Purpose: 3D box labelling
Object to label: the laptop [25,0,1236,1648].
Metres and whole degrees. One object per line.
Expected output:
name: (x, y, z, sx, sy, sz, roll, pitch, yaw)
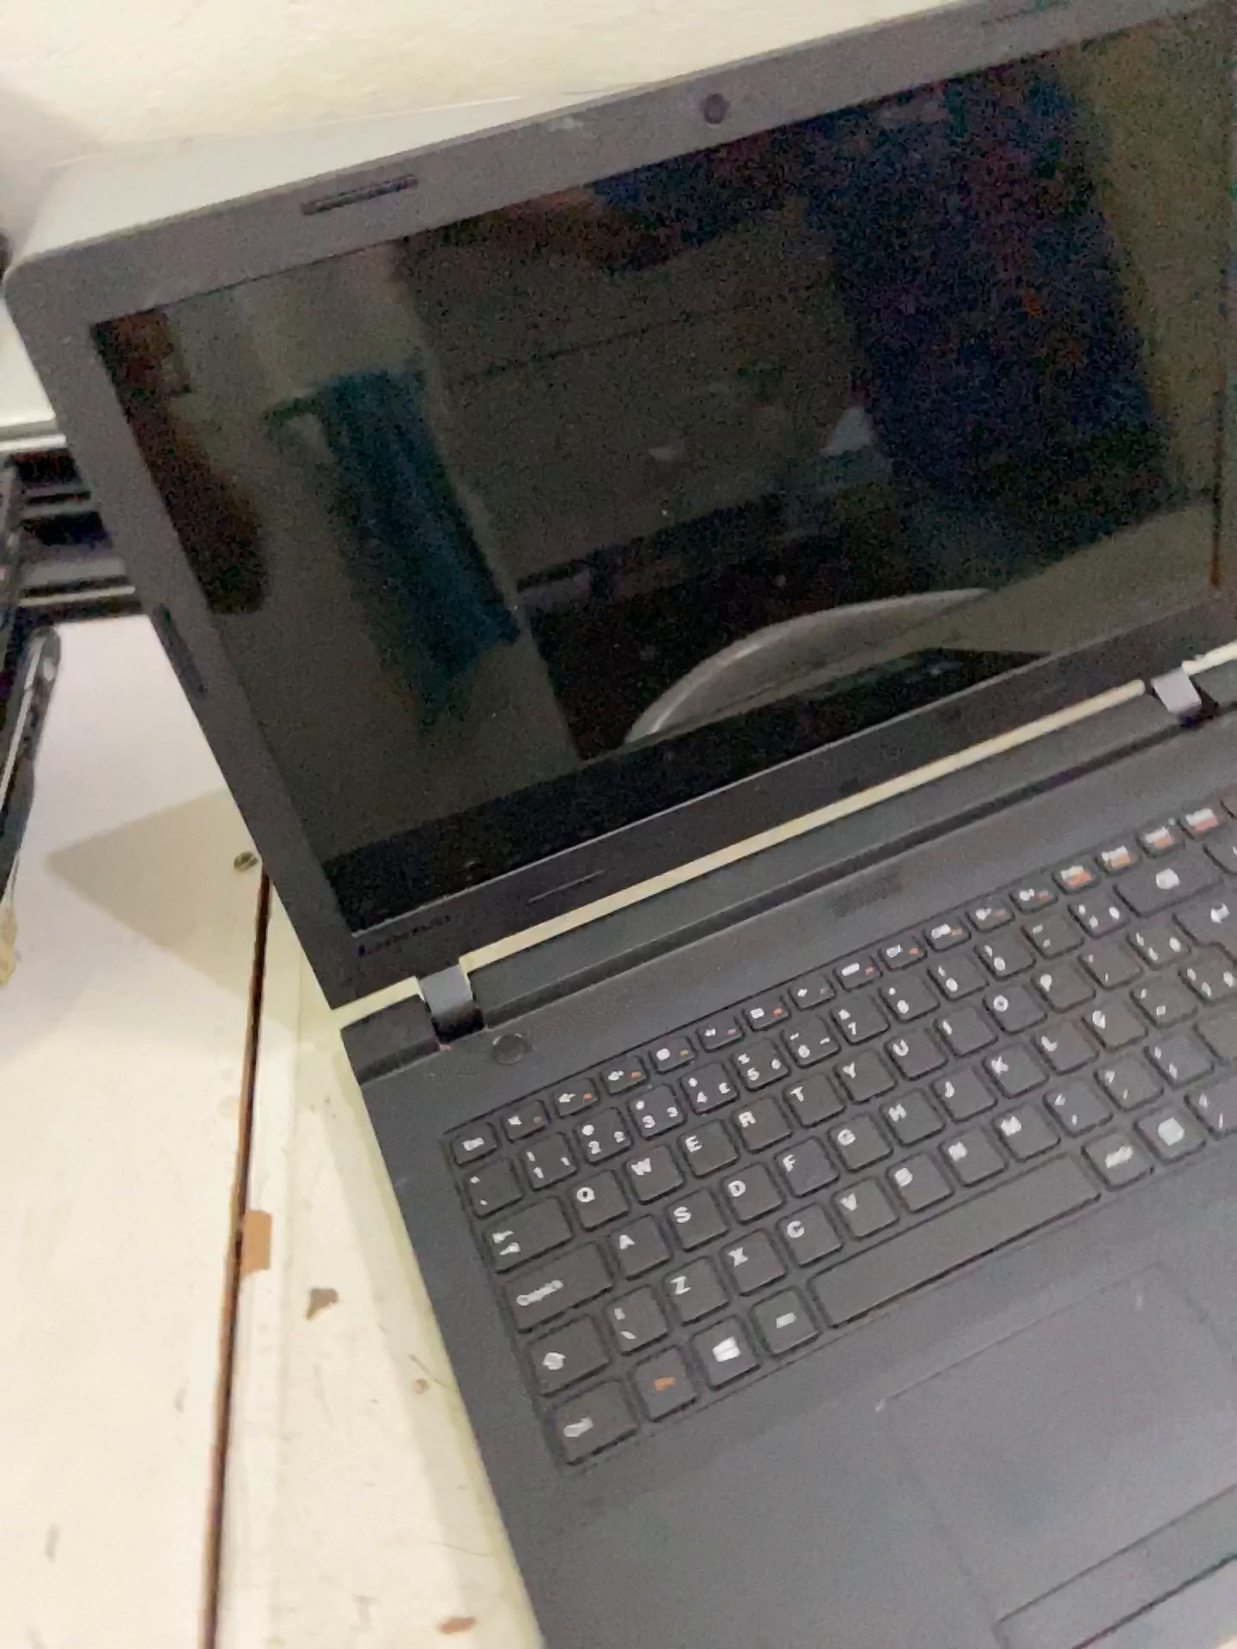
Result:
laptop: (0.104, -0.012, 0.327, 0.375, 0.230, 0.339, -22, 51, -11)
